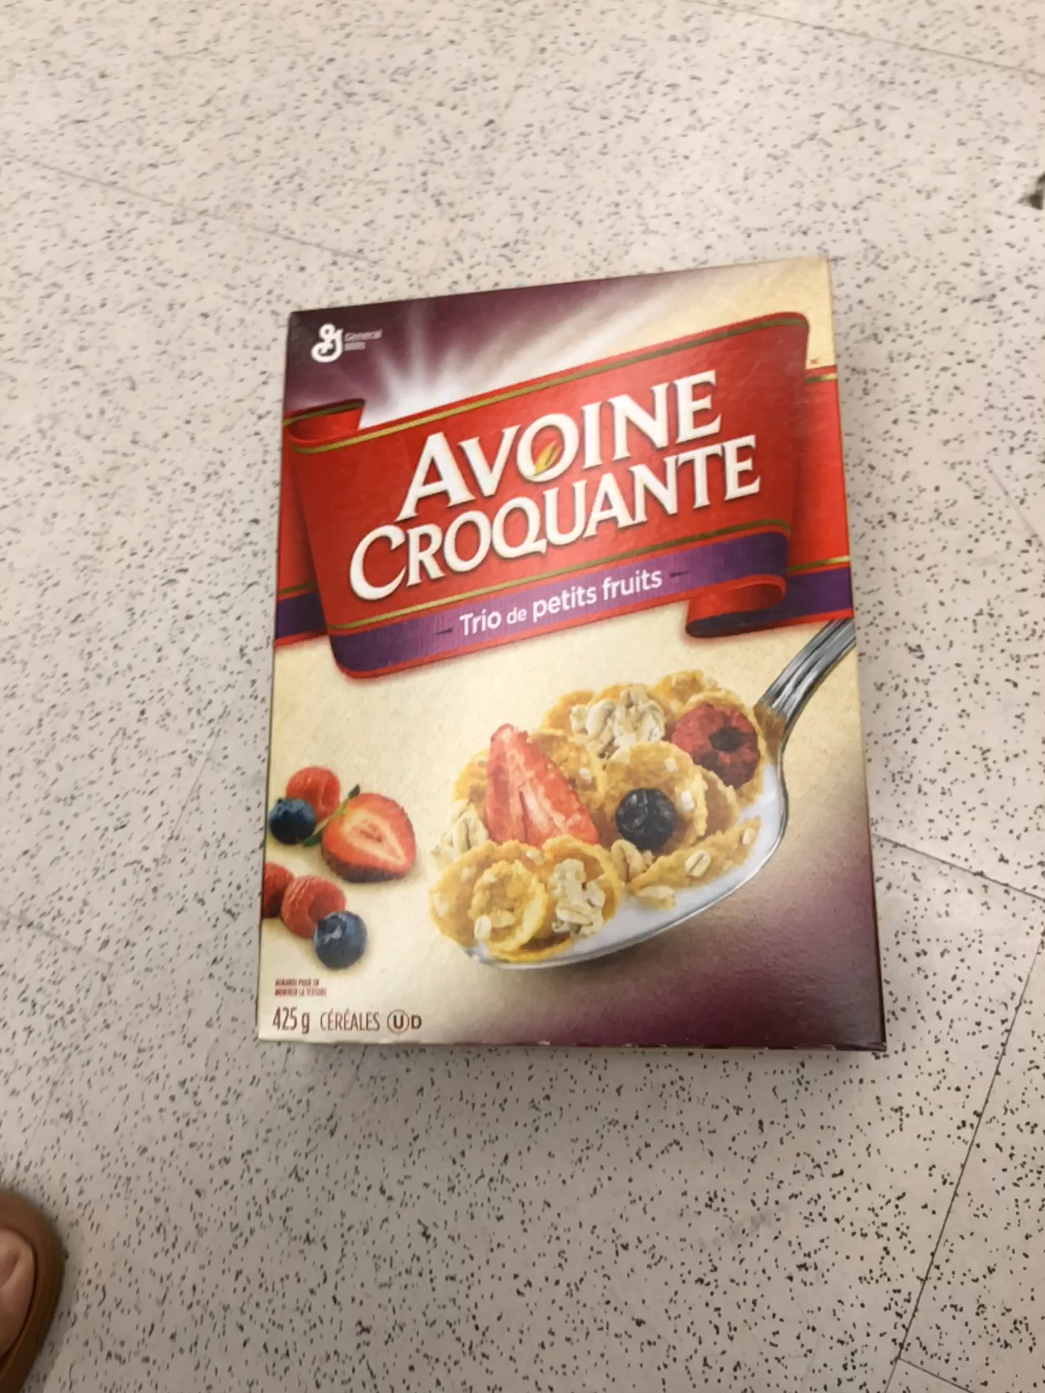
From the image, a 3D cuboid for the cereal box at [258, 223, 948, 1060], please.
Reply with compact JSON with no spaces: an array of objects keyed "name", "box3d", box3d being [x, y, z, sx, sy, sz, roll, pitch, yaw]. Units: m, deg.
[{"name":"cereal box","box3d":[0.024,-0.017,0.411,0.210,0.060,0.270,-3,77,10]}]
